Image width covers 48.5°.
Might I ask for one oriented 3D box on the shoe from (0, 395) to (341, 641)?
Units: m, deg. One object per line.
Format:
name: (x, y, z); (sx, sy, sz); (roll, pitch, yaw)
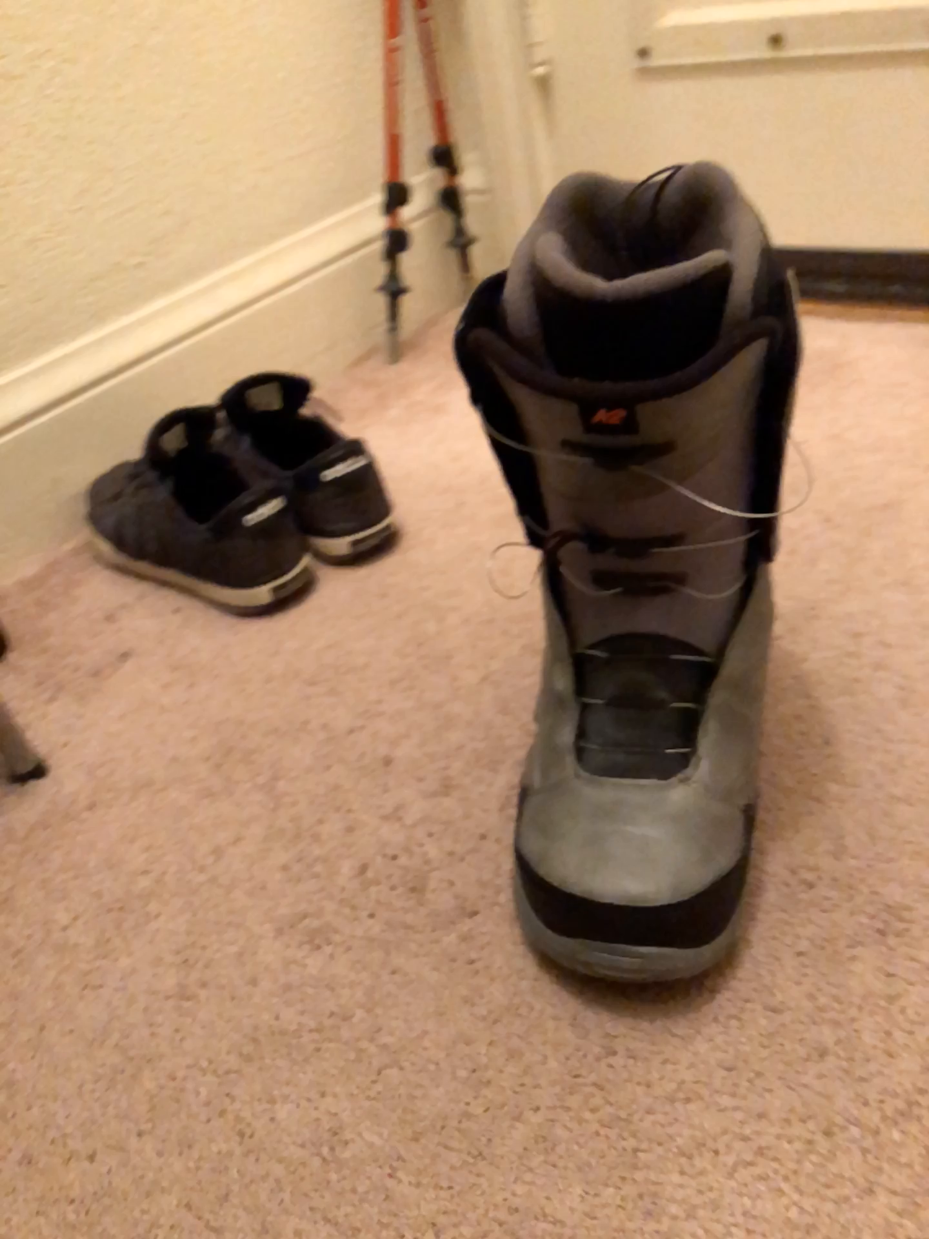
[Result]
shoe: (-0.237, -0.090, 0.811); (0.284, 0.106, 0.087); (20, 46, 38)

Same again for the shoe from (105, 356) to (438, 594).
shoe: (-0.176, -0.138, 0.909); (0.304, 0.116, 0.107); (22, 44, 39)

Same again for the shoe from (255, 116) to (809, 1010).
shoe: (0.071, -0.037, 0.474); (0.137, 0.281, 0.274); (4, 38, 23)
